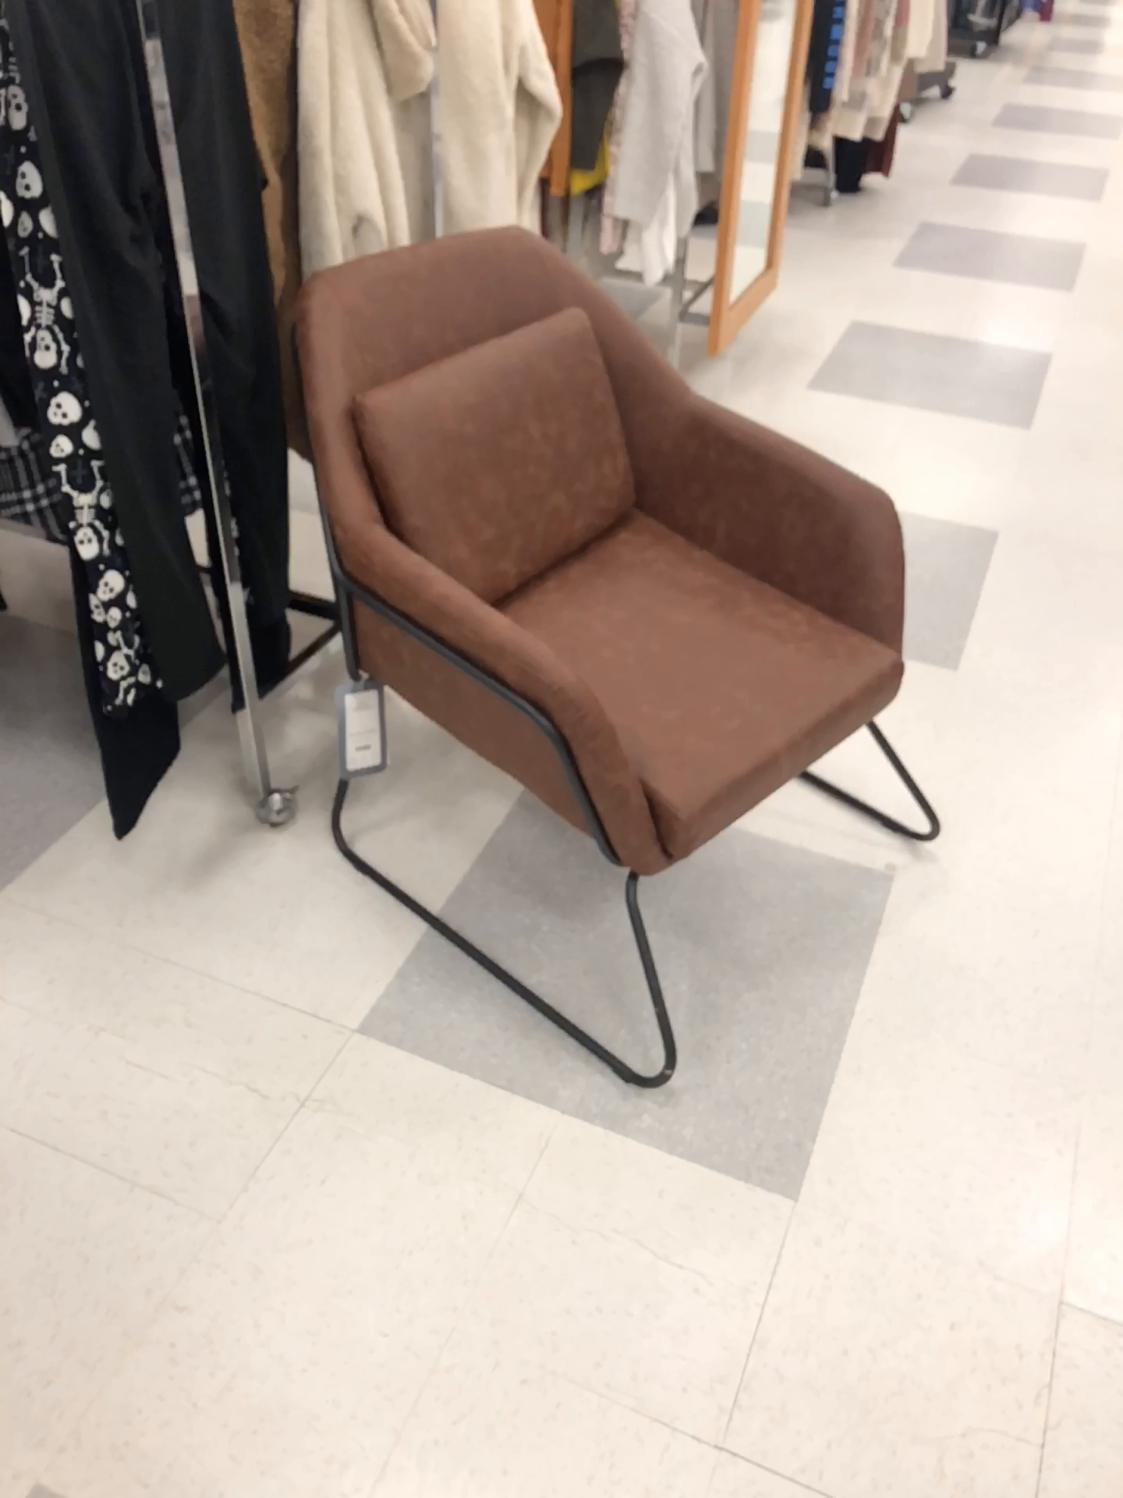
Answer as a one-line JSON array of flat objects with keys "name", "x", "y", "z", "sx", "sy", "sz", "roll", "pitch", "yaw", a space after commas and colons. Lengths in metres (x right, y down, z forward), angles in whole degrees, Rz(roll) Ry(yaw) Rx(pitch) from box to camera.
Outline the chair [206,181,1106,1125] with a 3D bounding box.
[{"name": "chair", "x": 0.103, "y": -0.192, "z": 1.710, "sx": 0.760, "sy": 0.849, "sz": 0.738, "roll": 32, "pitch": 47, "yaw": 32}]
